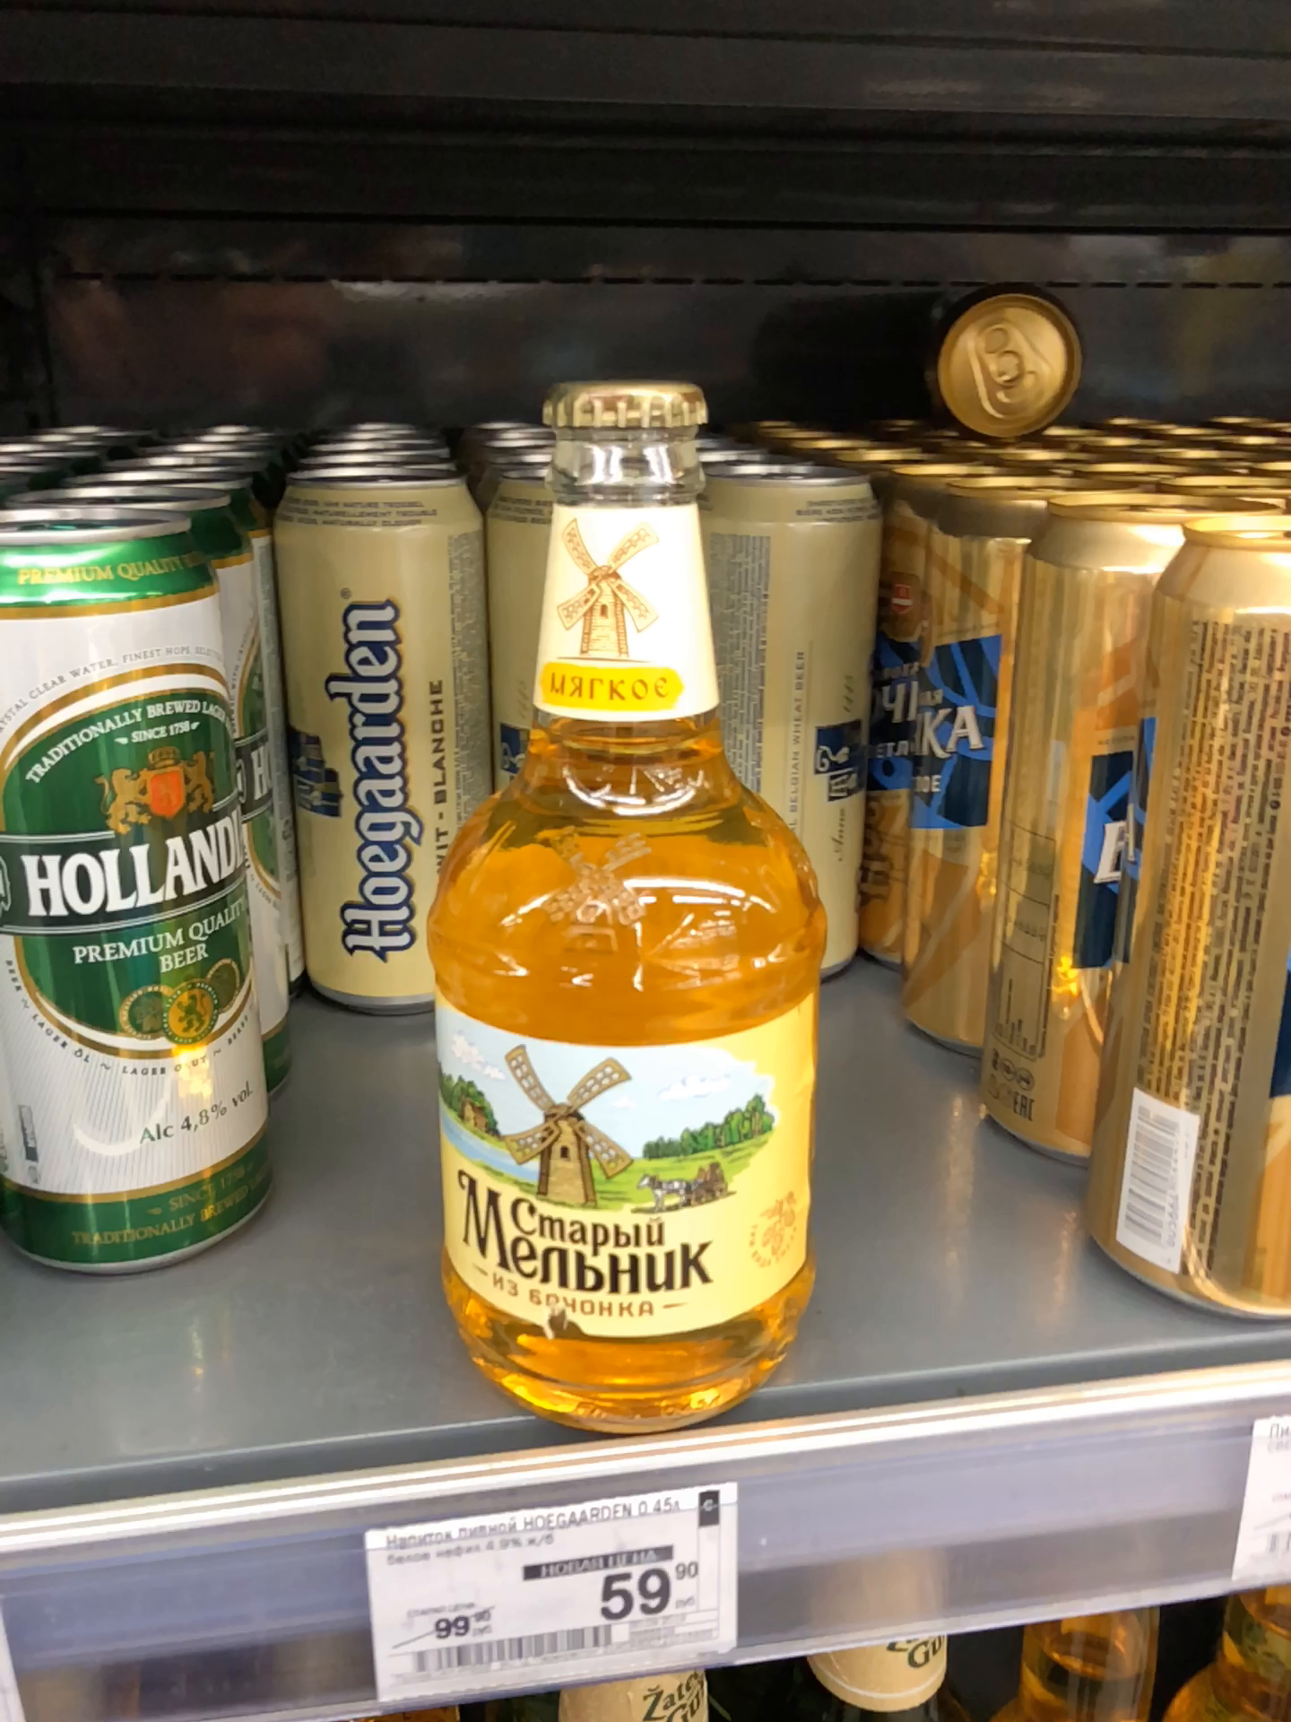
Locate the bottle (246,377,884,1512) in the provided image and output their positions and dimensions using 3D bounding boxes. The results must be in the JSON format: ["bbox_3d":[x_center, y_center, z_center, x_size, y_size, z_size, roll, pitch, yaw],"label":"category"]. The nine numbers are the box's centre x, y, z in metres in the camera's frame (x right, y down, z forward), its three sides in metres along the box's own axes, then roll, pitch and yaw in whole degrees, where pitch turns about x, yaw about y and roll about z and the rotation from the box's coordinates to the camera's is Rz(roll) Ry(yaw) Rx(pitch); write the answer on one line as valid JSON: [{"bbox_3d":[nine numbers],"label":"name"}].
[{"bbox_3d":[-0.008,0.010,0.273,0.090,0.193,0.080,4,19,12],"label":"bottle"}]
